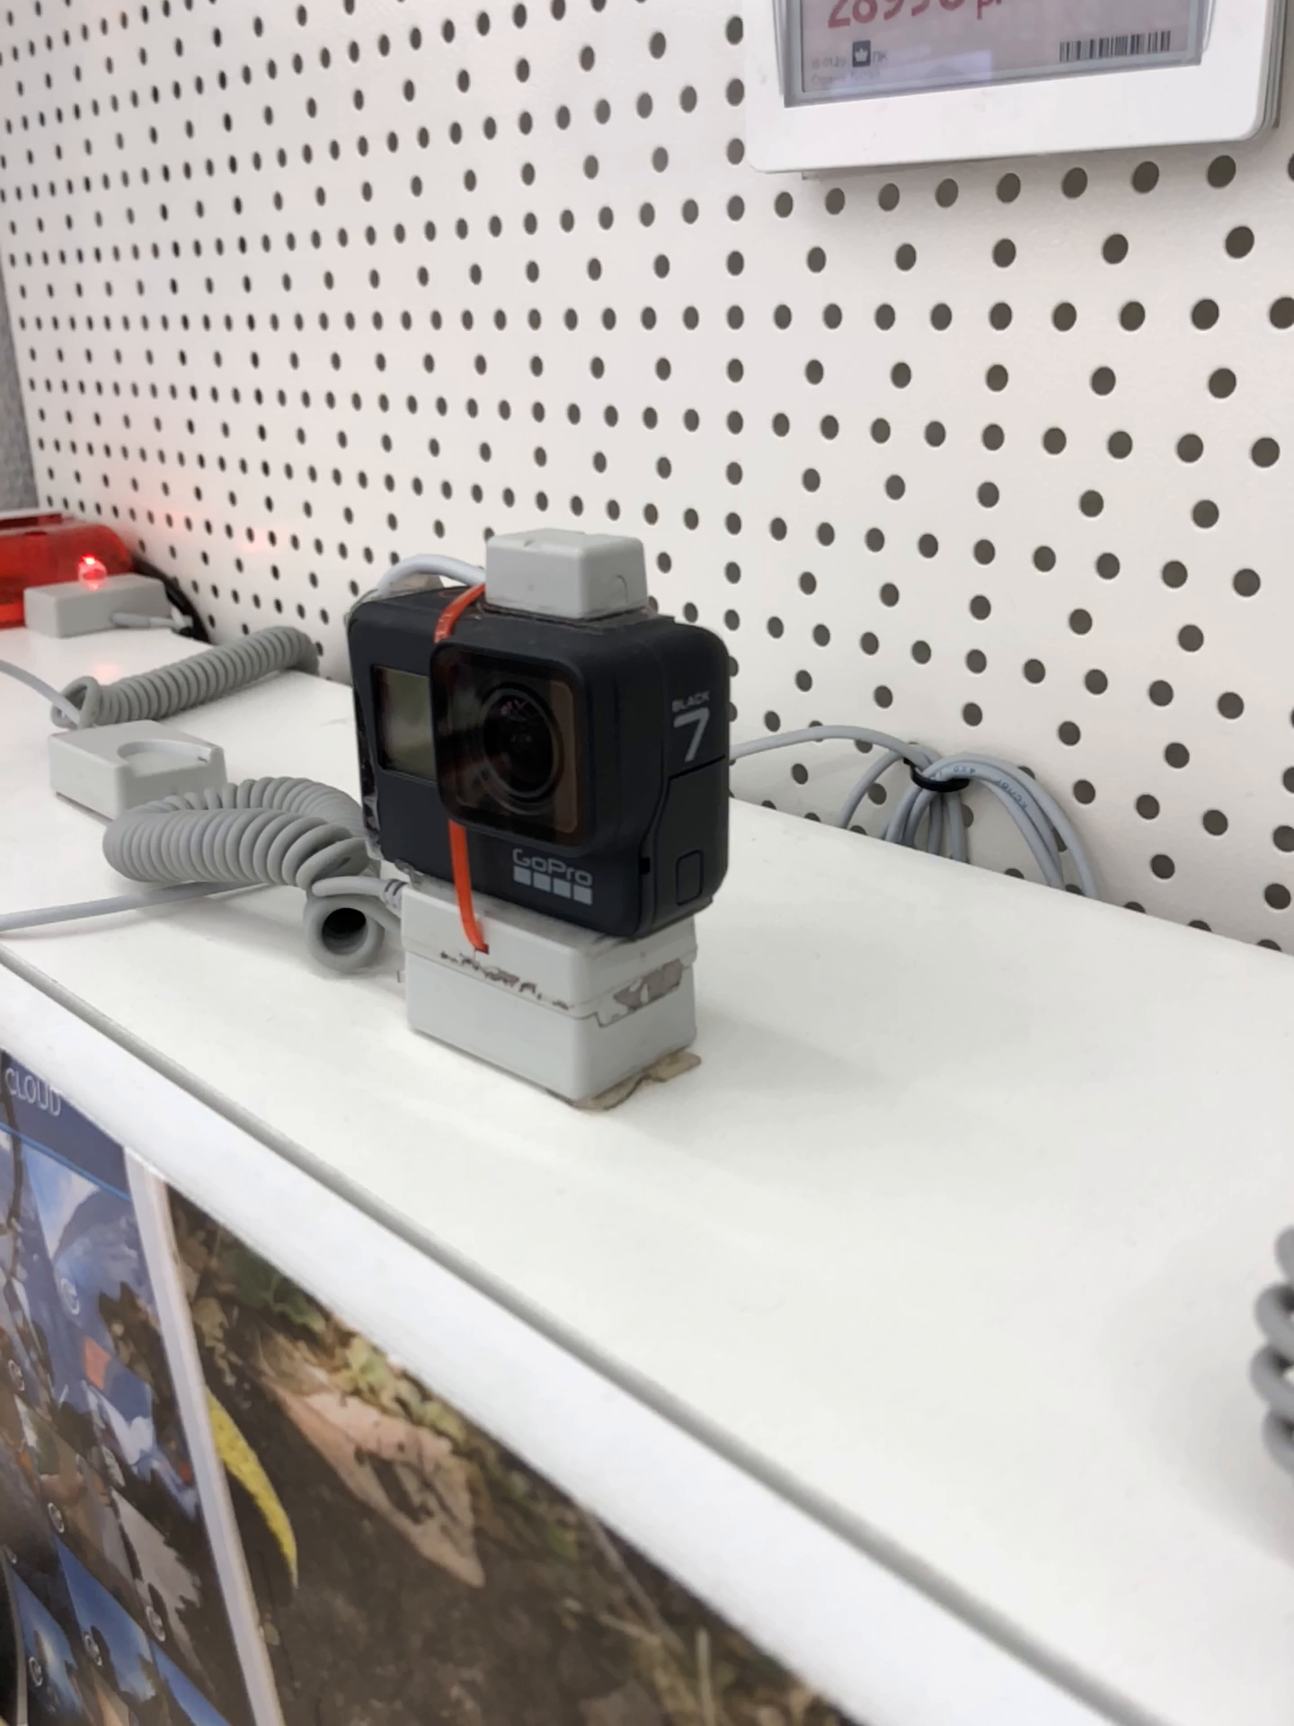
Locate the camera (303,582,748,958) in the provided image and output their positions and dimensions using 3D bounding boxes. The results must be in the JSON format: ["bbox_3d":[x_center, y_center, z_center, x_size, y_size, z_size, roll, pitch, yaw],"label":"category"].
[{"bbox_3d":[-0.020,-0.018,0.228,0.064,0.043,0.032,15,25,37],"label":"camera"}]
